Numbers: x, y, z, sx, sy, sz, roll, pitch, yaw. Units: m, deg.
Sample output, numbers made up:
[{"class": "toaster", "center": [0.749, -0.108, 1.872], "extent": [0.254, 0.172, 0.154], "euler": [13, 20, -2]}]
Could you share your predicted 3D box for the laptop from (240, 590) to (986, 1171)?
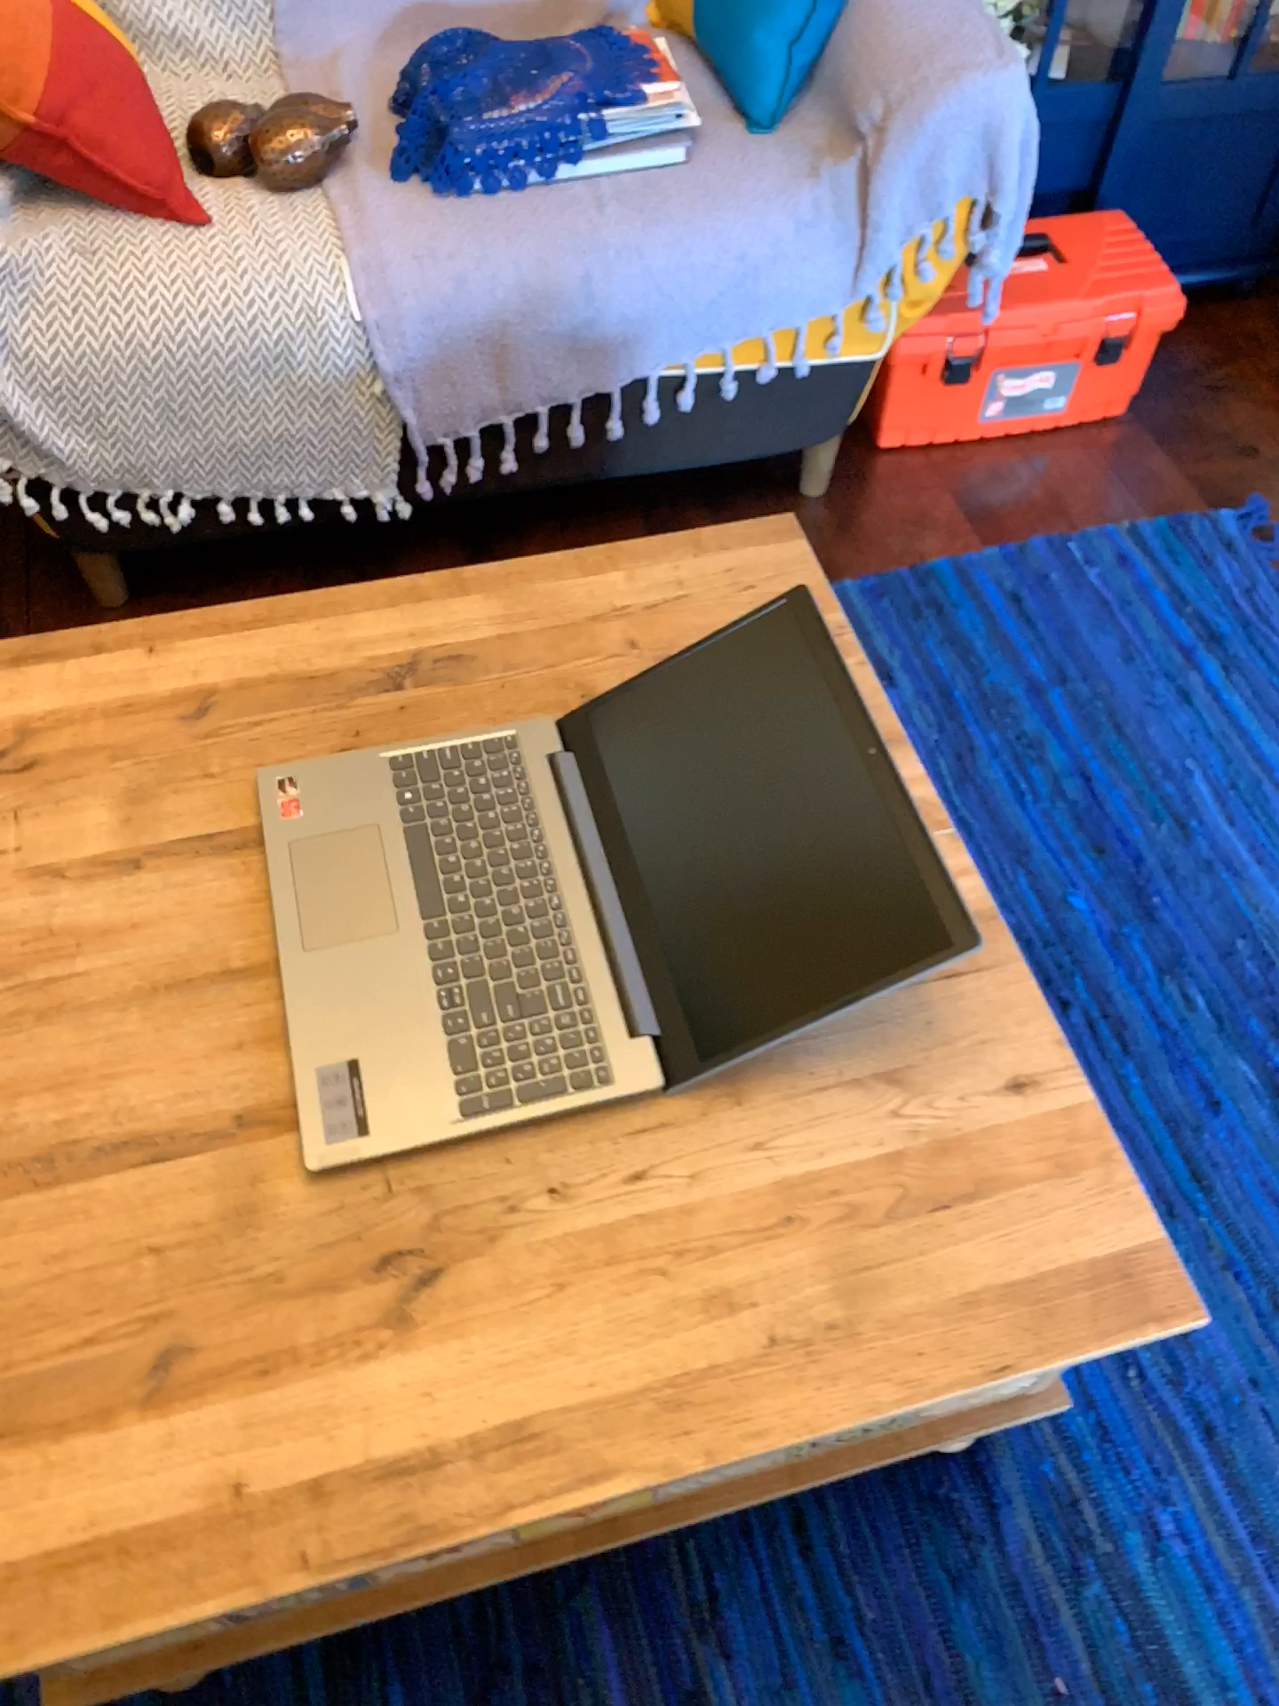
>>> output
[{"class": "laptop", "center": [-0.041, 0.001, 0.977], "extent": [0.460, 0.099, 0.347], "euler": [-13, 55, -7]}]
